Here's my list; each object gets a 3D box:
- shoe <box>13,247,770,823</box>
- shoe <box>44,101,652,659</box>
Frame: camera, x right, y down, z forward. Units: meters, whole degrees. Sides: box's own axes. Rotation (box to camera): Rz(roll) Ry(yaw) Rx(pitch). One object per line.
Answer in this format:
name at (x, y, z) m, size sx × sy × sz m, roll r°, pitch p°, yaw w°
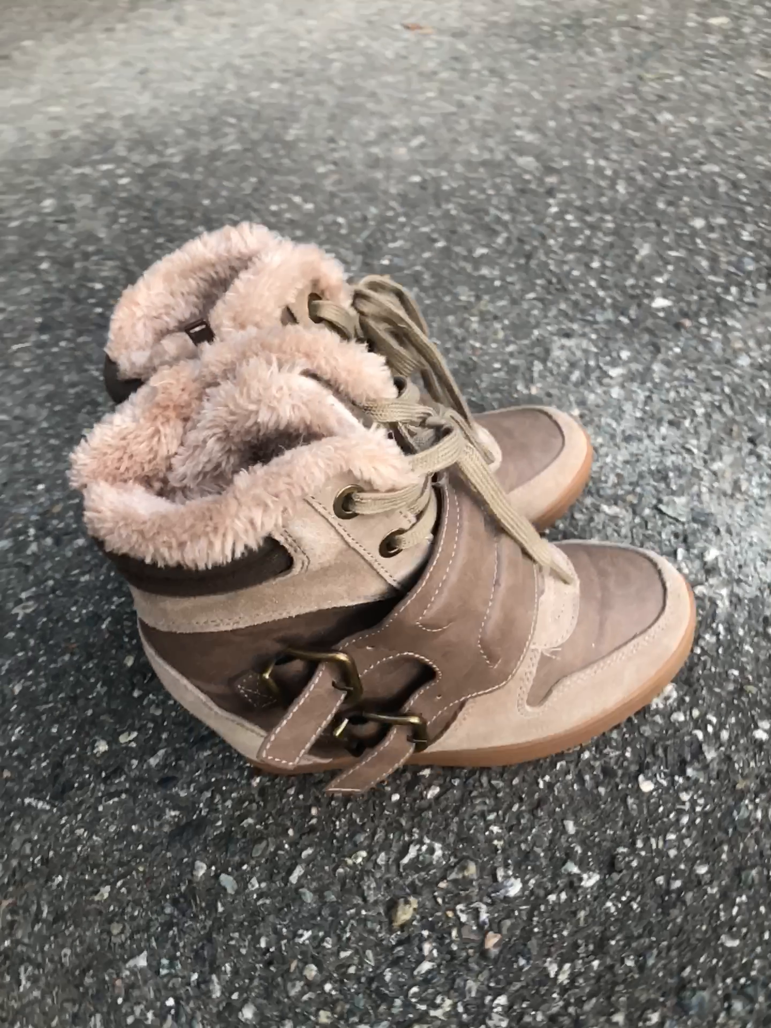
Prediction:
shoe at (0.015, 0.022, 0.336) m, size 0.230 × 0.179 × 0.091 m, roll -11°, pitch 47°, yaw 3°
shoe at (-0.009, -0.056, 0.406) m, size 0.230 × 0.179 × 0.101 m, roll -18°, pitch 47°, yaw -4°
